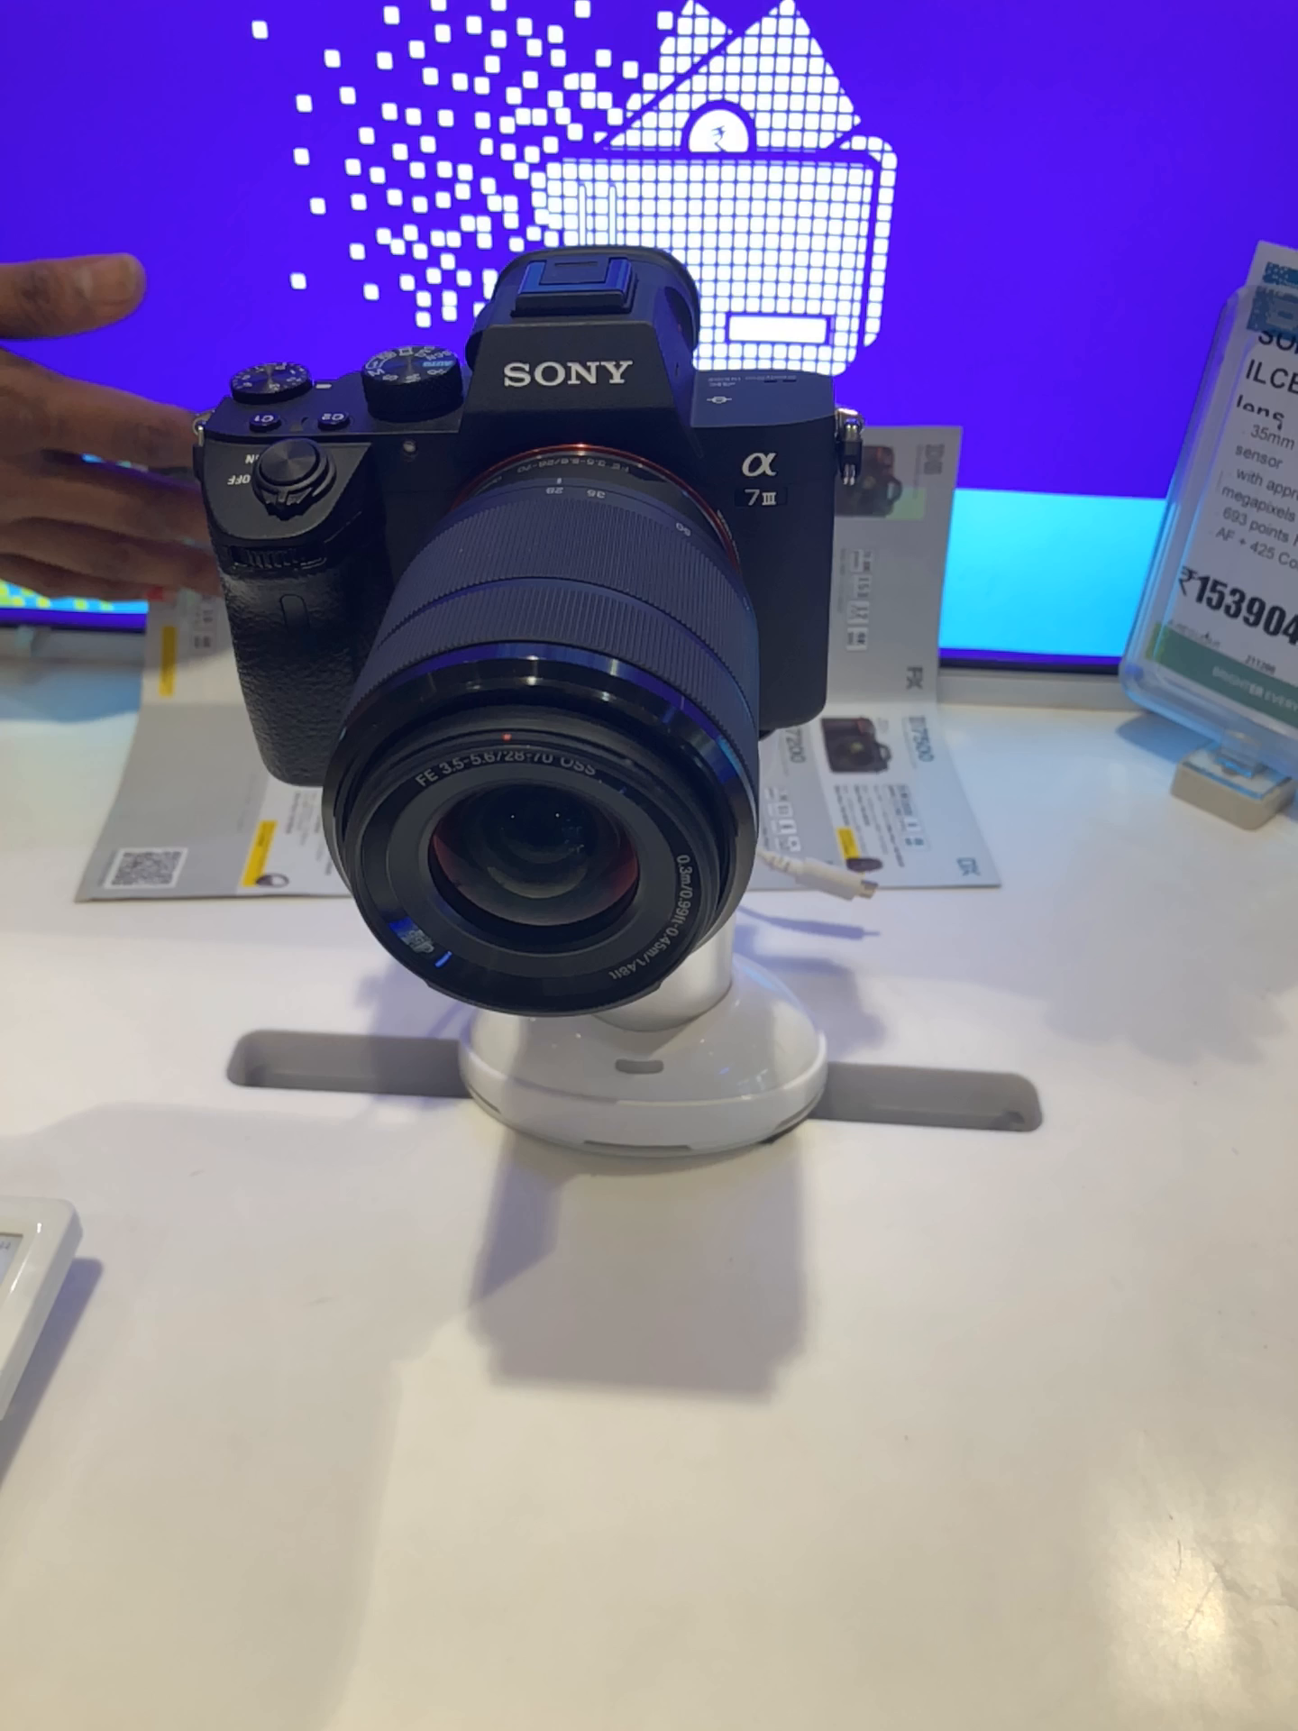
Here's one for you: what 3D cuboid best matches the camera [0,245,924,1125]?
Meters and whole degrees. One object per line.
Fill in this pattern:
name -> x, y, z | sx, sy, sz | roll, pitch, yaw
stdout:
camera -> -0.030, -0.039, 0.267 | 0.120, 0.109, 0.128 | -1, 37, -4
